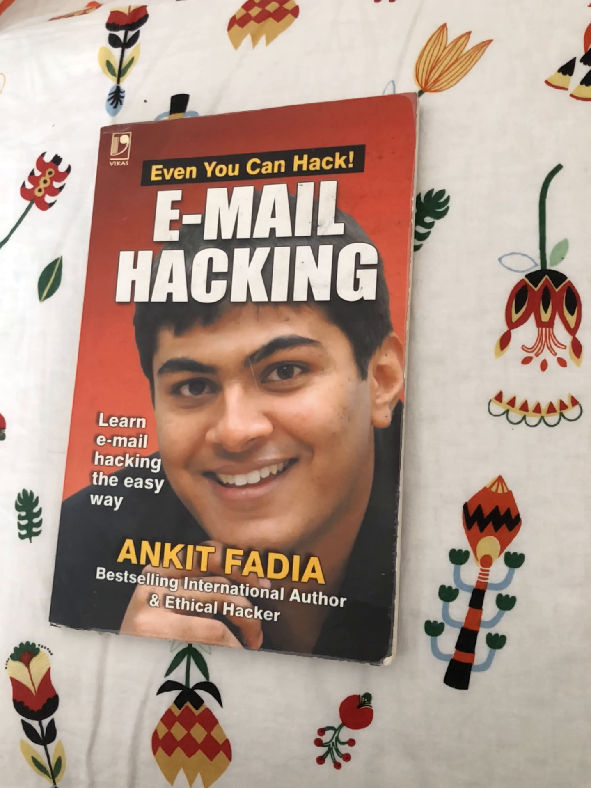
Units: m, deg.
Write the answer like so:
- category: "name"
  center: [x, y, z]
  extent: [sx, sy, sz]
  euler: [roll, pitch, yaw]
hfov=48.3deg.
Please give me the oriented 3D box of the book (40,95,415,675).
- category: "book"
  center: [-0.027, -0.007, 0.259]
  extent: [0.138, 0.020, 0.204]
  euler: [1, 85, 16]
